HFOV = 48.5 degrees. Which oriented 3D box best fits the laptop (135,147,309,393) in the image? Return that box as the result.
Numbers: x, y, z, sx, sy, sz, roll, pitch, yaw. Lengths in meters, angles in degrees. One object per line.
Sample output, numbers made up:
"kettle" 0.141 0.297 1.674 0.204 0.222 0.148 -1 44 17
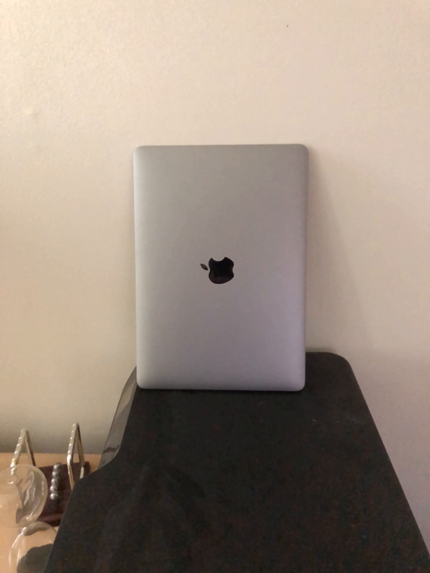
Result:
"laptop" 0.006 -0.016 0.546 0.196 0.275 0.002 0 4 3
